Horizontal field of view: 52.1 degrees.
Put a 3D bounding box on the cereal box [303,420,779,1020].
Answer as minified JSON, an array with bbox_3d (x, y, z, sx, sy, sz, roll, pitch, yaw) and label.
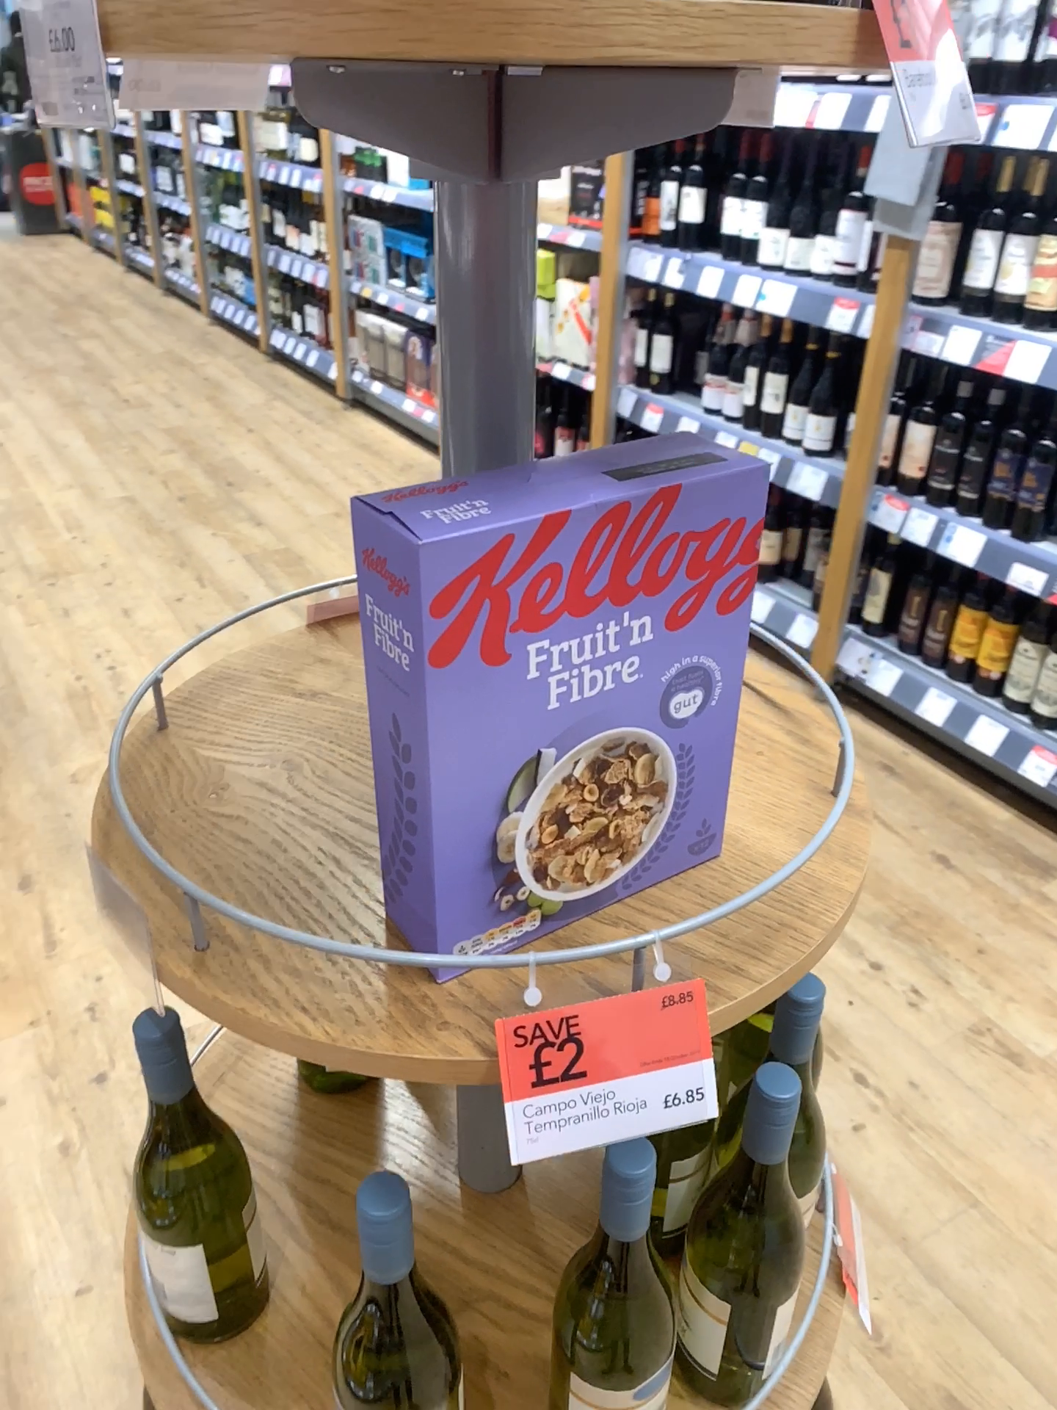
[{"bbox_3d":[0.009,0.003,0.525,0.201,0.238,0.070,-18,35,-29],"label":"cereal box"}]
